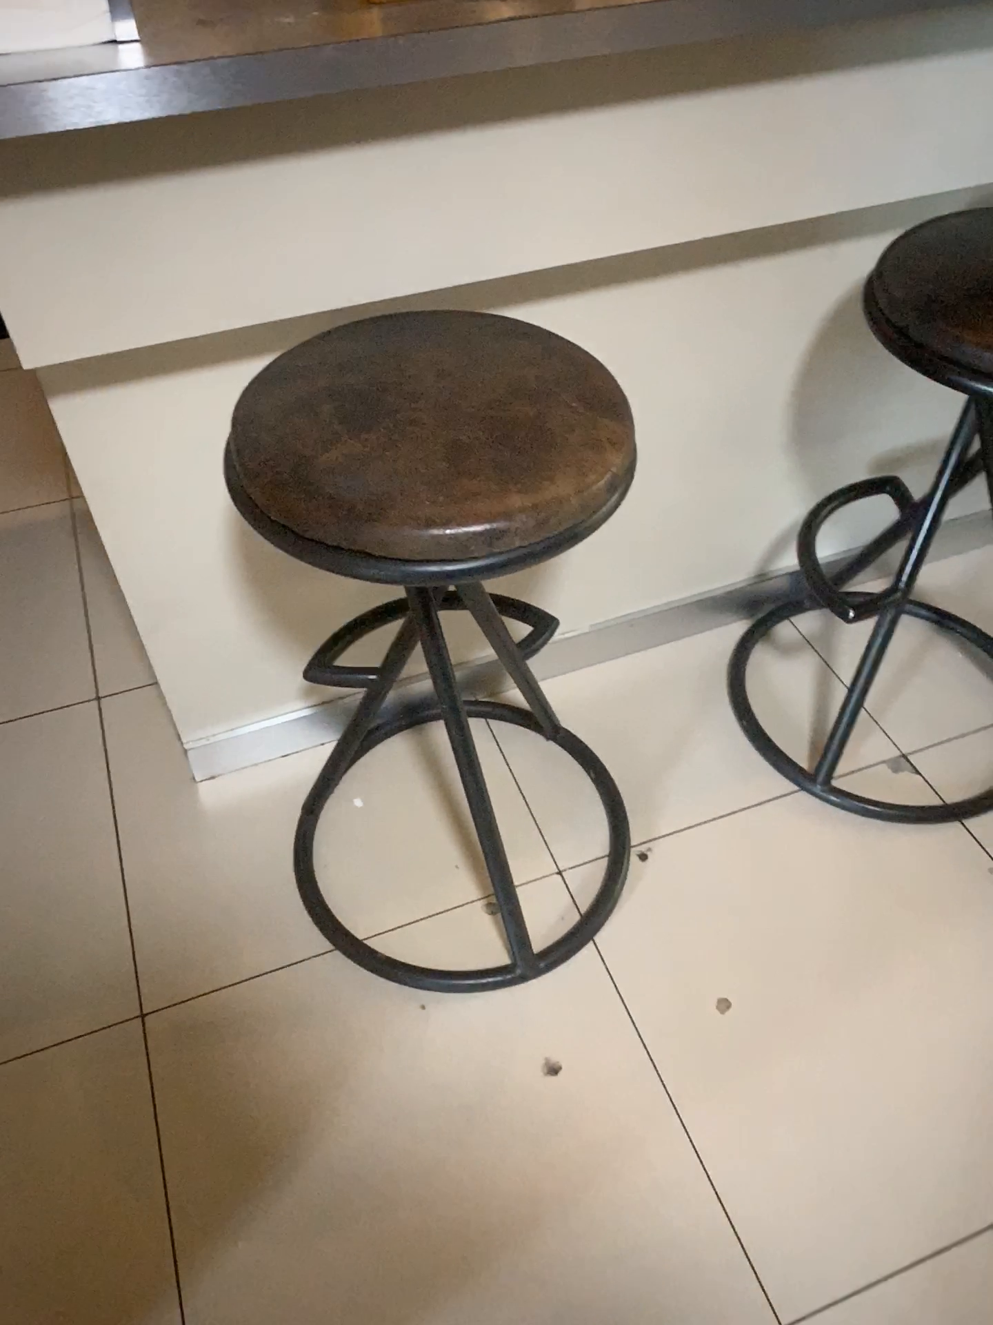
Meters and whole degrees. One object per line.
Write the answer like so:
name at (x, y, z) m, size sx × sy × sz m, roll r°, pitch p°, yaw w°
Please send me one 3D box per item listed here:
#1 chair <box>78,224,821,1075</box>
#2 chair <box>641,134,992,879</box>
chair at (-0.078, -0.012, 1.218) m, size 0.550 × 0.727 × 0.549 m, roll -17°, pitch 48°, yaw -15°
chair at (0.597, -0.207, 1.380) m, size 0.550 × 0.727 × 0.529 m, roll -17°, pitch 48°, yaw -15°
